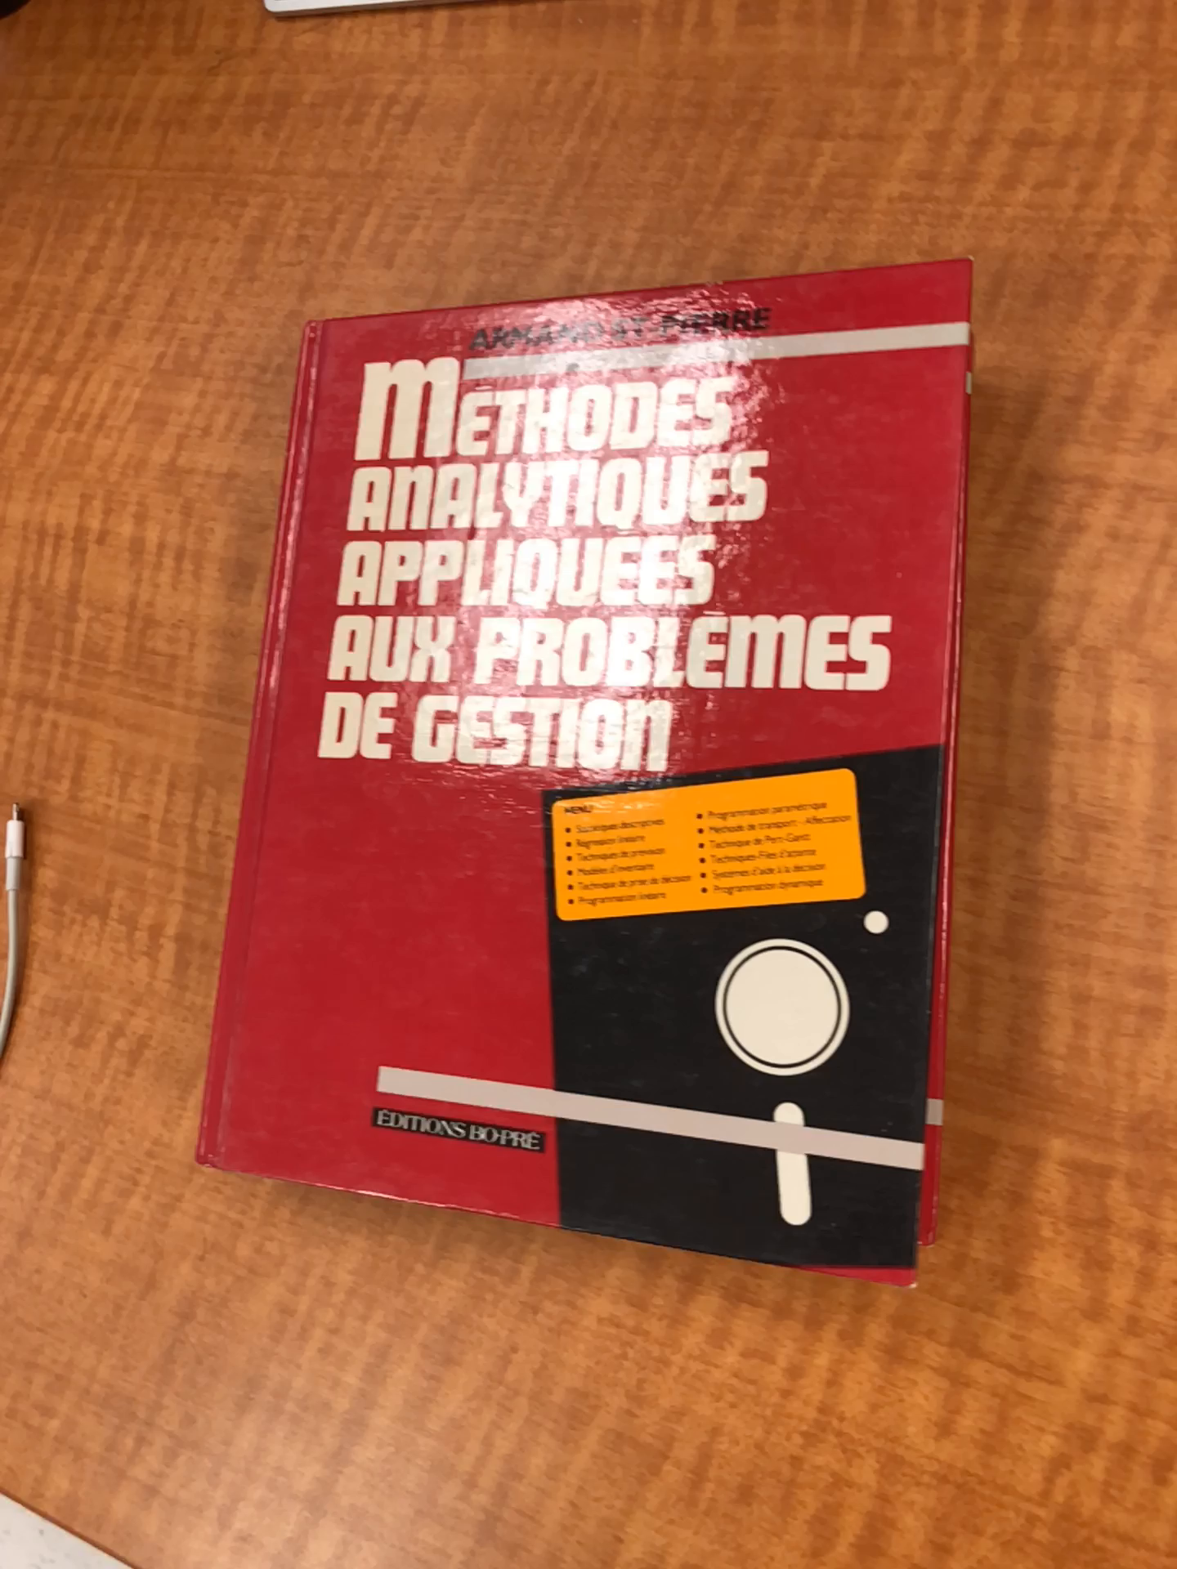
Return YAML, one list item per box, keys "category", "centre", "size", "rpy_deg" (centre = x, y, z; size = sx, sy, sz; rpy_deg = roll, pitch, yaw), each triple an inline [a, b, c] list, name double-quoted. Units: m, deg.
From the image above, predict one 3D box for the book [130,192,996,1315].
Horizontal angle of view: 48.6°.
- category: "book"
  centre: [-0.005, -0.015, 0.343]
  size: [0.200, 0.050, 0.250]
  rpy_deg: [3, 82, 21]
